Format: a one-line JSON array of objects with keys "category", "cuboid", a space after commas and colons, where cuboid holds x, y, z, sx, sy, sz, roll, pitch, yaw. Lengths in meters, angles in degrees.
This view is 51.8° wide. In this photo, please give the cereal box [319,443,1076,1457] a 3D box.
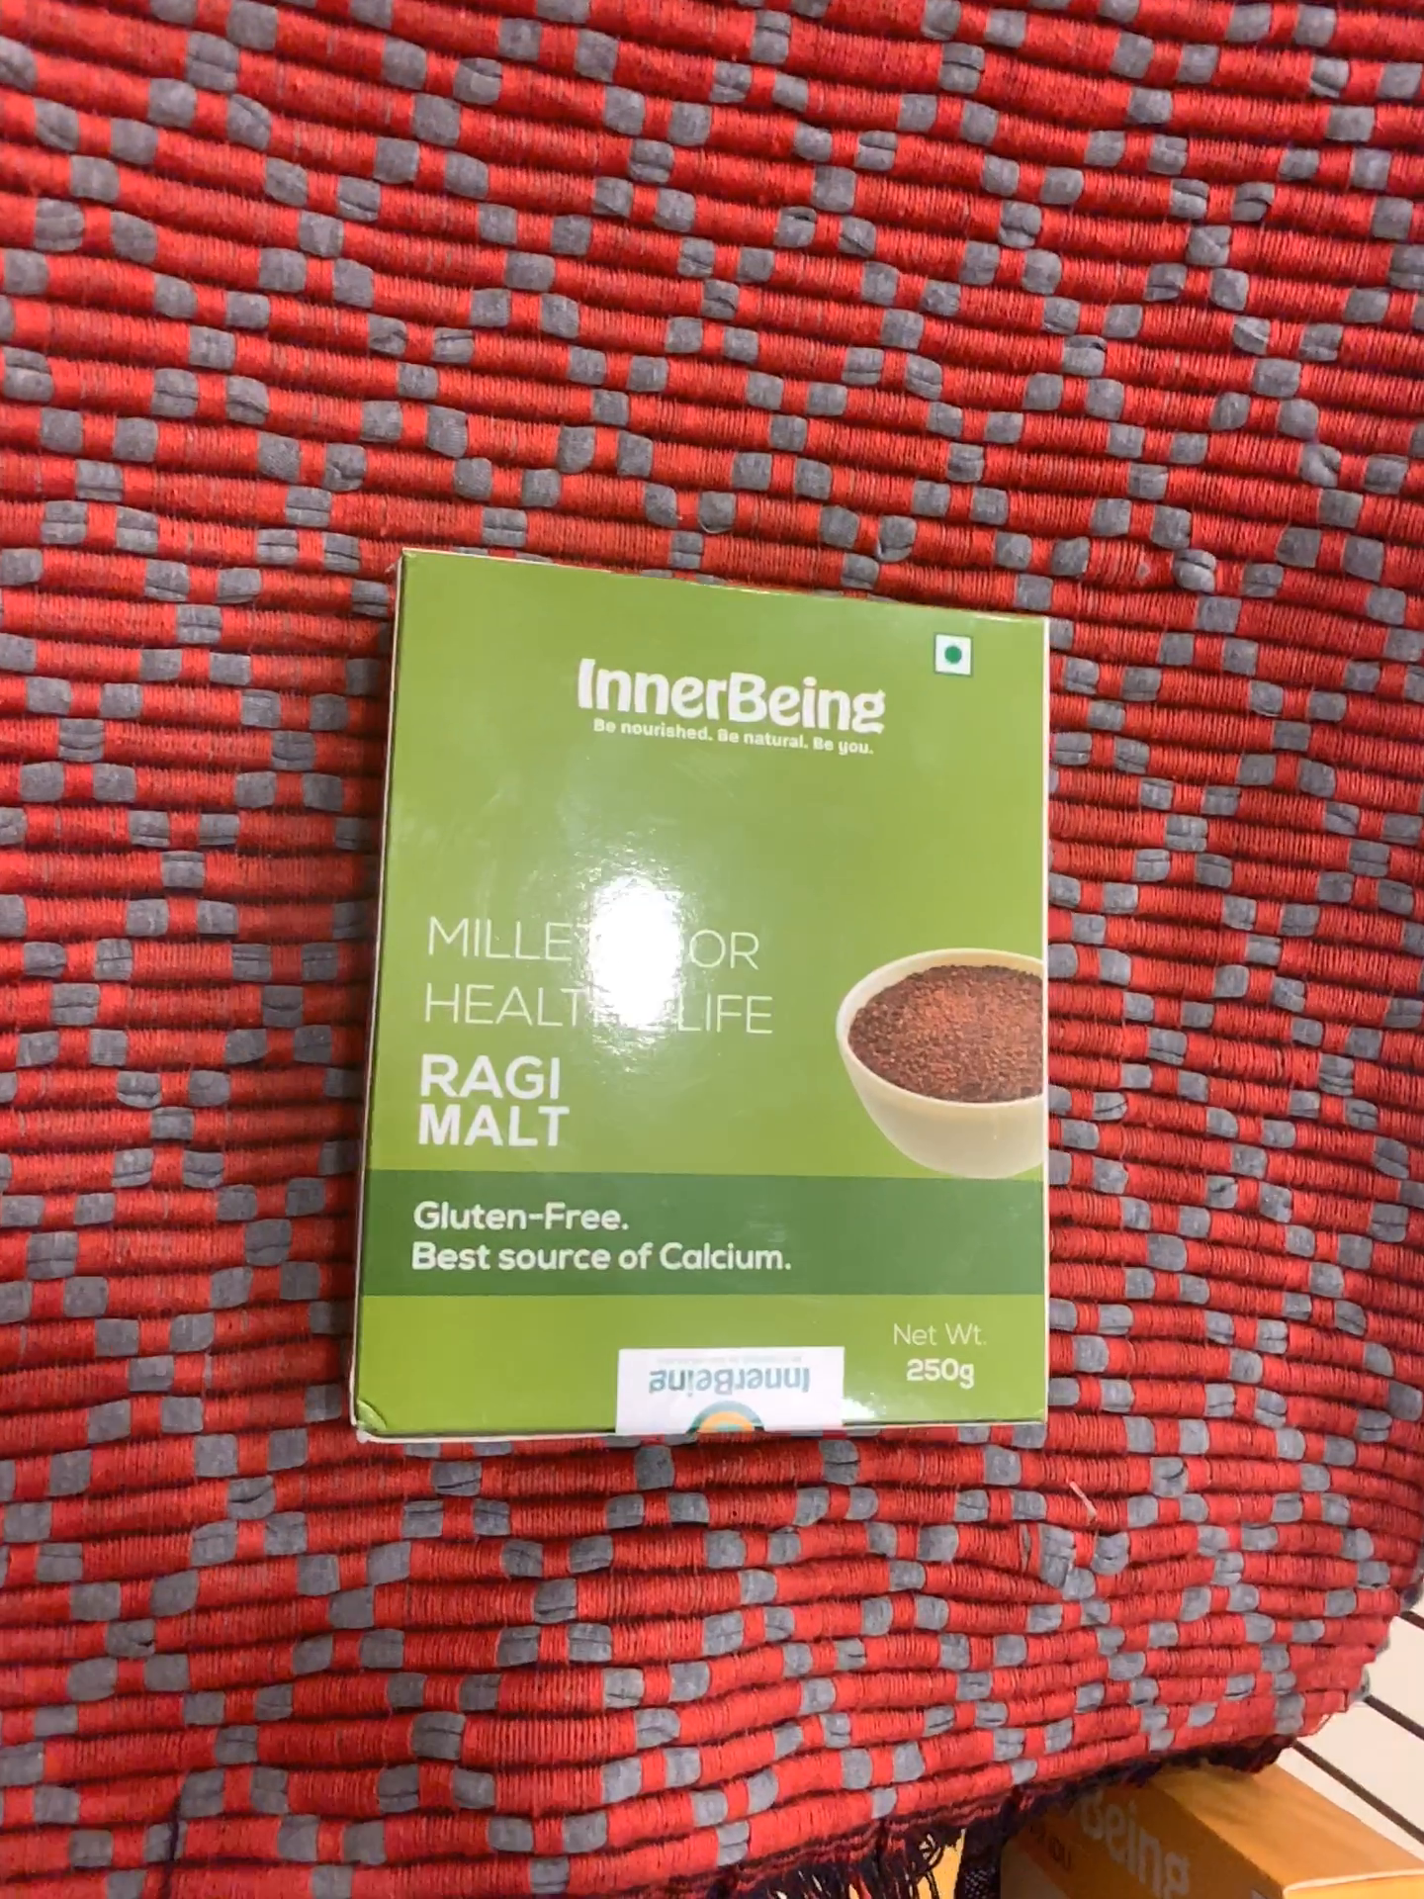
[{"category": "cereal box", "cuboid": [-0.002, 0.003, 0.282, 0.130, 0.050, 0.170, 3, 82, -12]}]
